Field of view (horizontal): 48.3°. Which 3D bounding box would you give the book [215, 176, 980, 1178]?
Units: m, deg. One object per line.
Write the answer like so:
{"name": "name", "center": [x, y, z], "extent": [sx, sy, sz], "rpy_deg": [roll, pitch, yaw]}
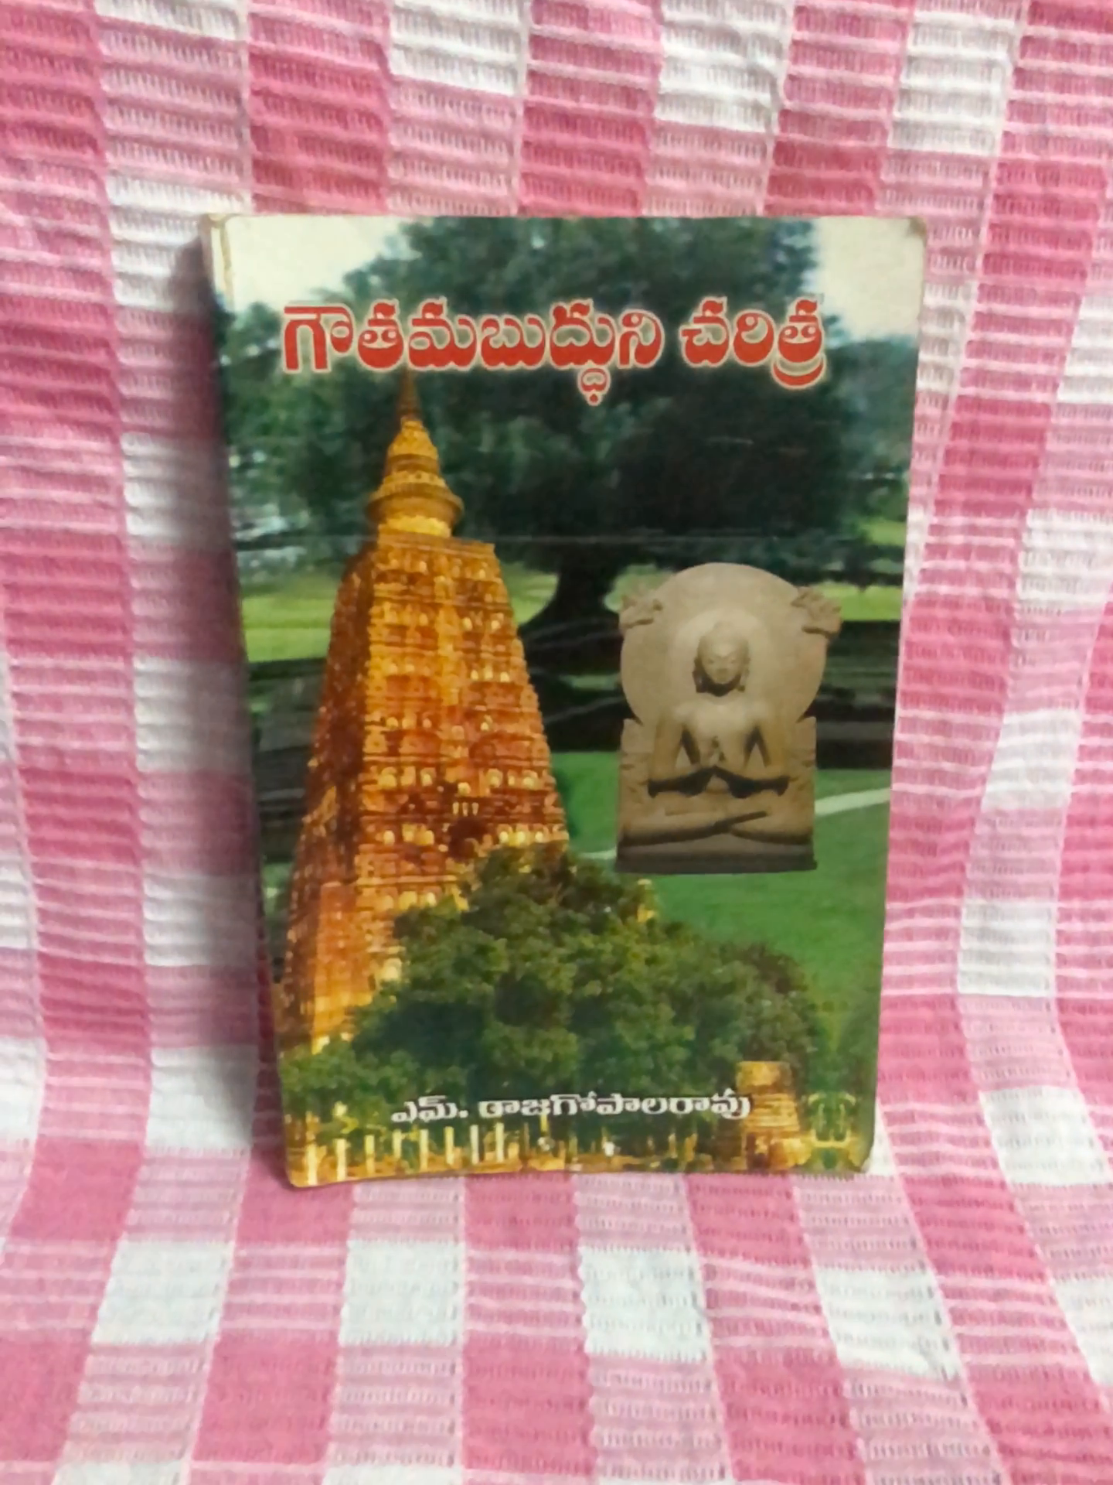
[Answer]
{"name": "book", "center": [0.006, -0.006, 0.270], "extent": [0.140, 0.209, 0.030], "rpy_deg": [0, 16, -2]}
